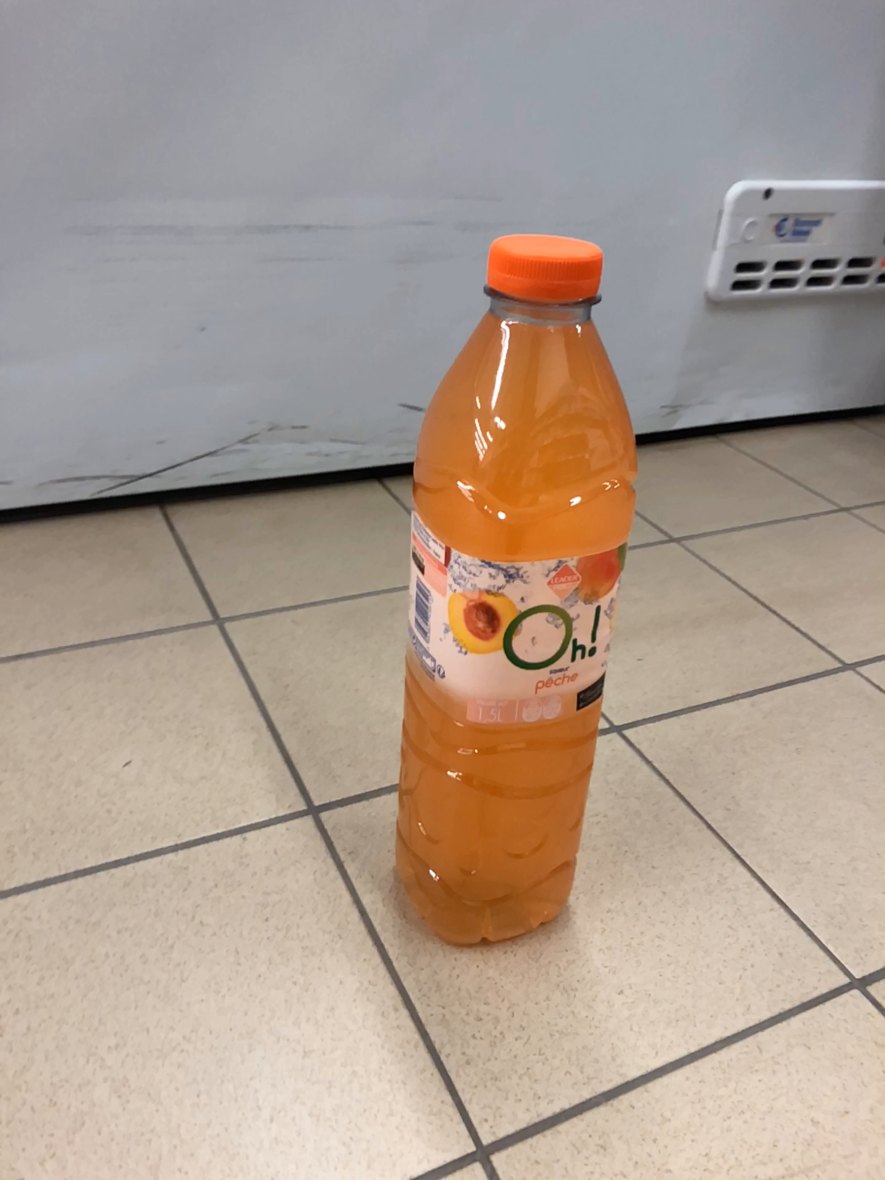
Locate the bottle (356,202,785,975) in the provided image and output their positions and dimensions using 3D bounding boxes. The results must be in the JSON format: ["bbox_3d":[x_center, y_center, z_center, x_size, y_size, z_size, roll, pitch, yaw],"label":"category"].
[{"bbox_3d":[0.034,0.005,0.409,0.100,0.298,0.100,4,29,-2],"label":"bottle"}]
